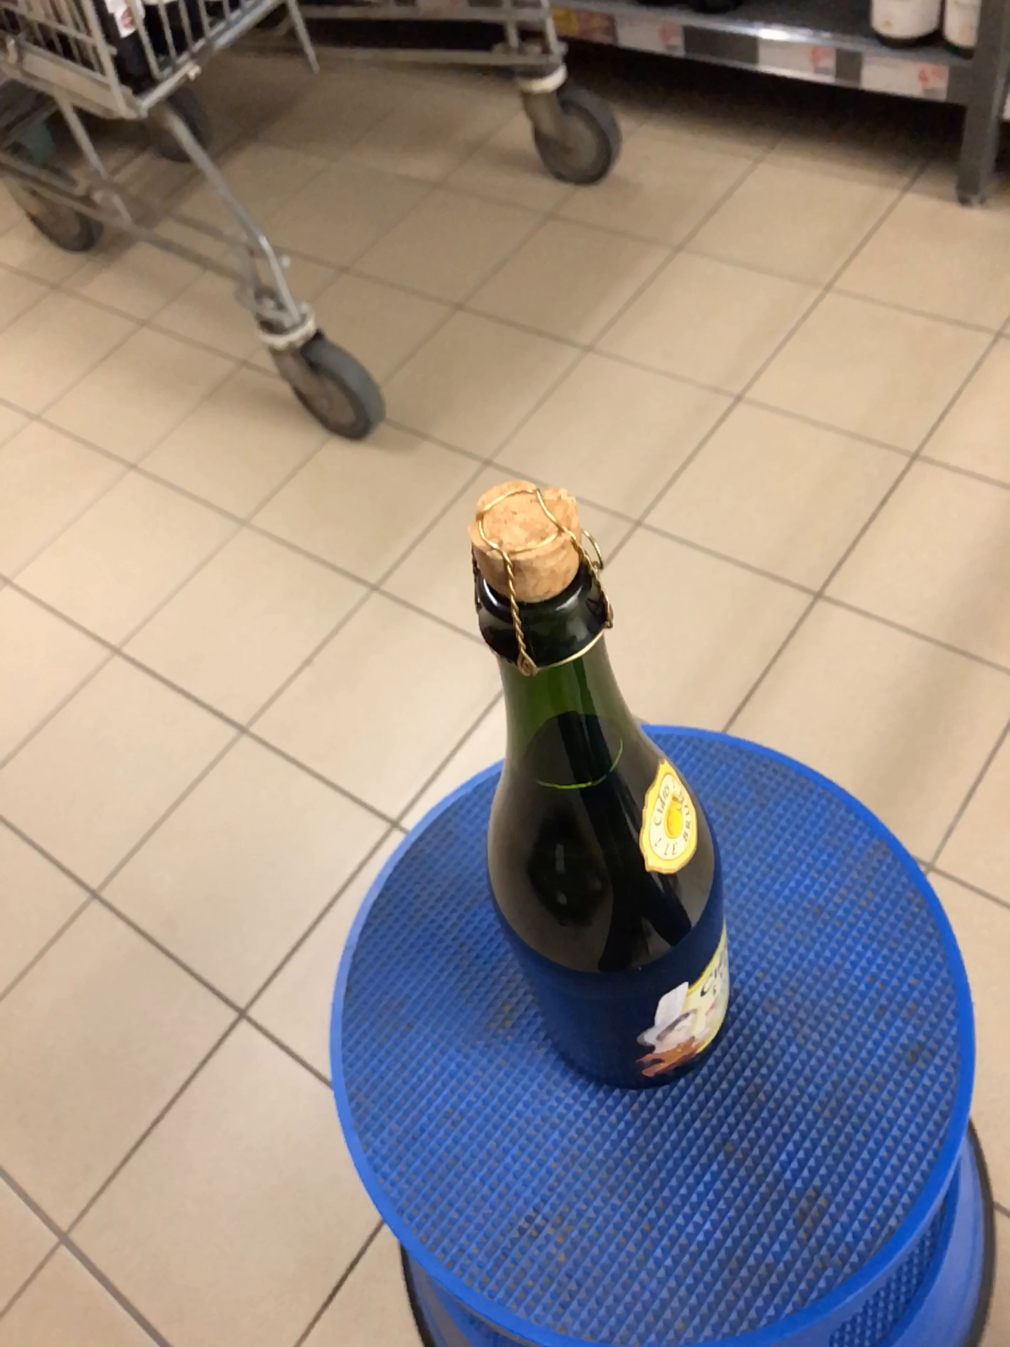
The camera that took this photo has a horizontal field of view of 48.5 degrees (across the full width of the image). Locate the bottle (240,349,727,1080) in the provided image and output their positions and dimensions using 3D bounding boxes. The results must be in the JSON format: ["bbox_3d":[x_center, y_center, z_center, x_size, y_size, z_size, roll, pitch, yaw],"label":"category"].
[{"bbox_3d":[0.020,0.047,0.373,0.090,0.299,0.090,-7,54,9],"label":"bottle"}]
